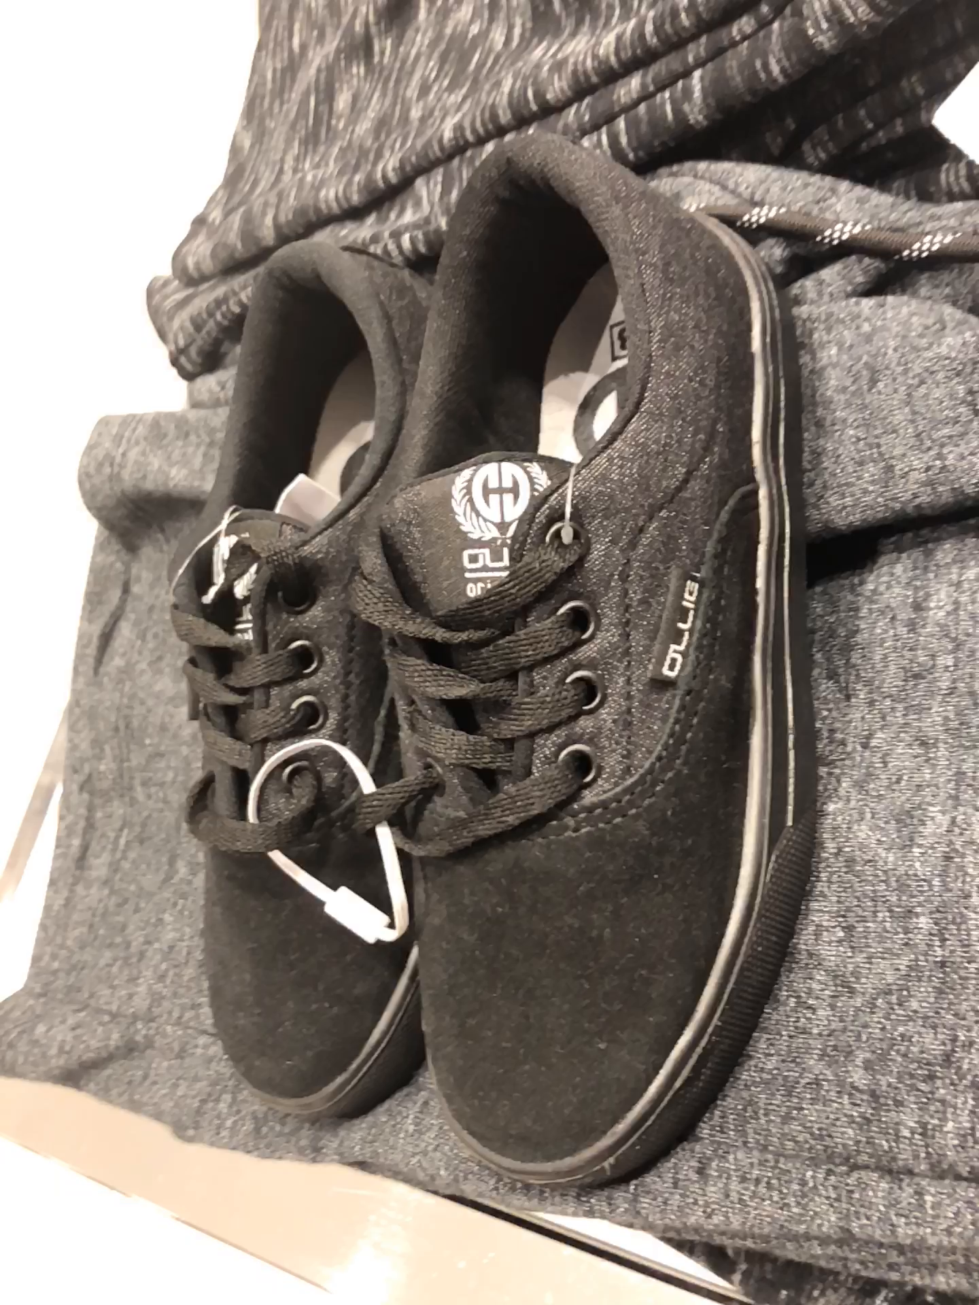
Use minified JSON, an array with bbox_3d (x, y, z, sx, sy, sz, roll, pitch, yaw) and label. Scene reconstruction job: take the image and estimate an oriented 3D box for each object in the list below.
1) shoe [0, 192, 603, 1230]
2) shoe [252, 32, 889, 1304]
[{"bbox_3d":[-0.049,0.010,0.281,0.090,0.080,0.220,5,76,34],"label":"shoe"},{"bbox_3d":[0.030,-0.003,0.254,0.090,0.080,0.240,0,73,32],"label":"shoe"}]
